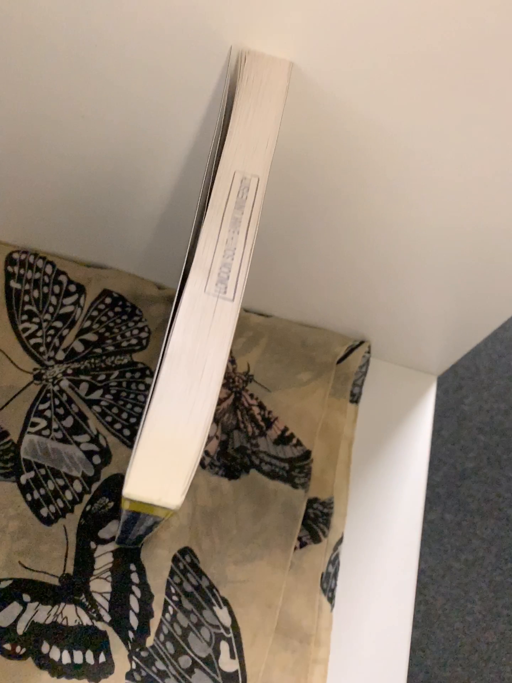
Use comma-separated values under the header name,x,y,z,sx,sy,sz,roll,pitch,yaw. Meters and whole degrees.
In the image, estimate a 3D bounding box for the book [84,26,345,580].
name,x,y,z,sx,sy,sz,roll,pitch,yaw
book,-0.033,0.011,0.304,0.052,0.250,0.220,15,64,-9
